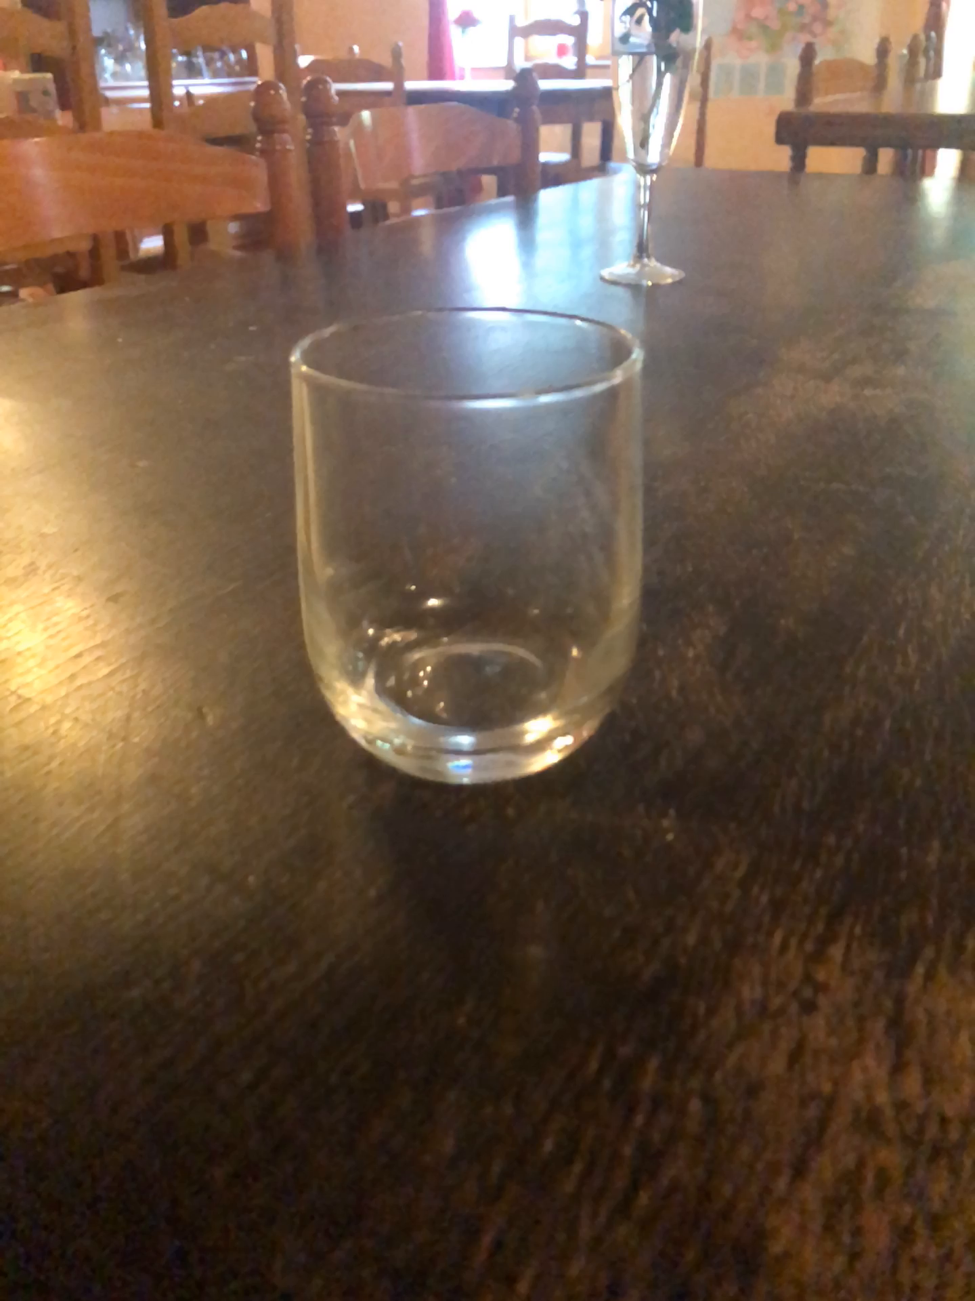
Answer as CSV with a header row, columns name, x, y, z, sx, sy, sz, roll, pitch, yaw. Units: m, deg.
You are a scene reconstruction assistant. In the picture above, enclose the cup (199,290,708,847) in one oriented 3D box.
name,x,y,z,sx,sy,sz,roll,pitch,yaw
cup,-0.002,-0.024,0.228,0.070,0.084,0.078,12,32,24
